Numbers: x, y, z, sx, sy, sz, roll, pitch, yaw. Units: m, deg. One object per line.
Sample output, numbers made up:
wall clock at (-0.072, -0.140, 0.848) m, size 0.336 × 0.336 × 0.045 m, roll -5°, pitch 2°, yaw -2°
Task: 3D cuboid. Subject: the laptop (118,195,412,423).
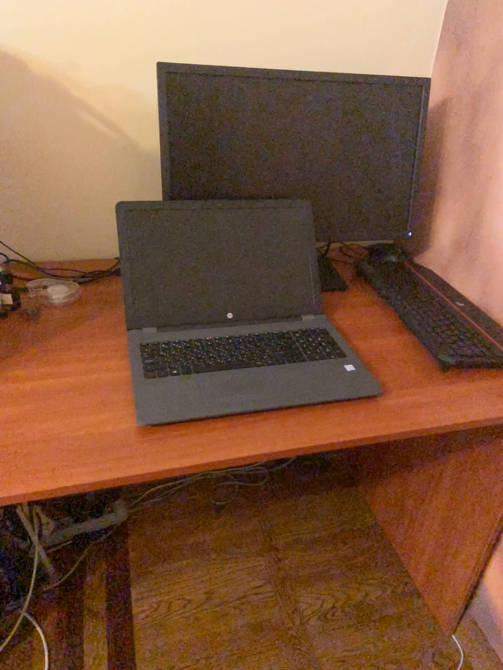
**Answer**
laptop at (-0.016, -0.077, 0.835) m, size 0.366 × 0.181 × 0.376 m, roll -5°, pitch 33°, yaw -15°
